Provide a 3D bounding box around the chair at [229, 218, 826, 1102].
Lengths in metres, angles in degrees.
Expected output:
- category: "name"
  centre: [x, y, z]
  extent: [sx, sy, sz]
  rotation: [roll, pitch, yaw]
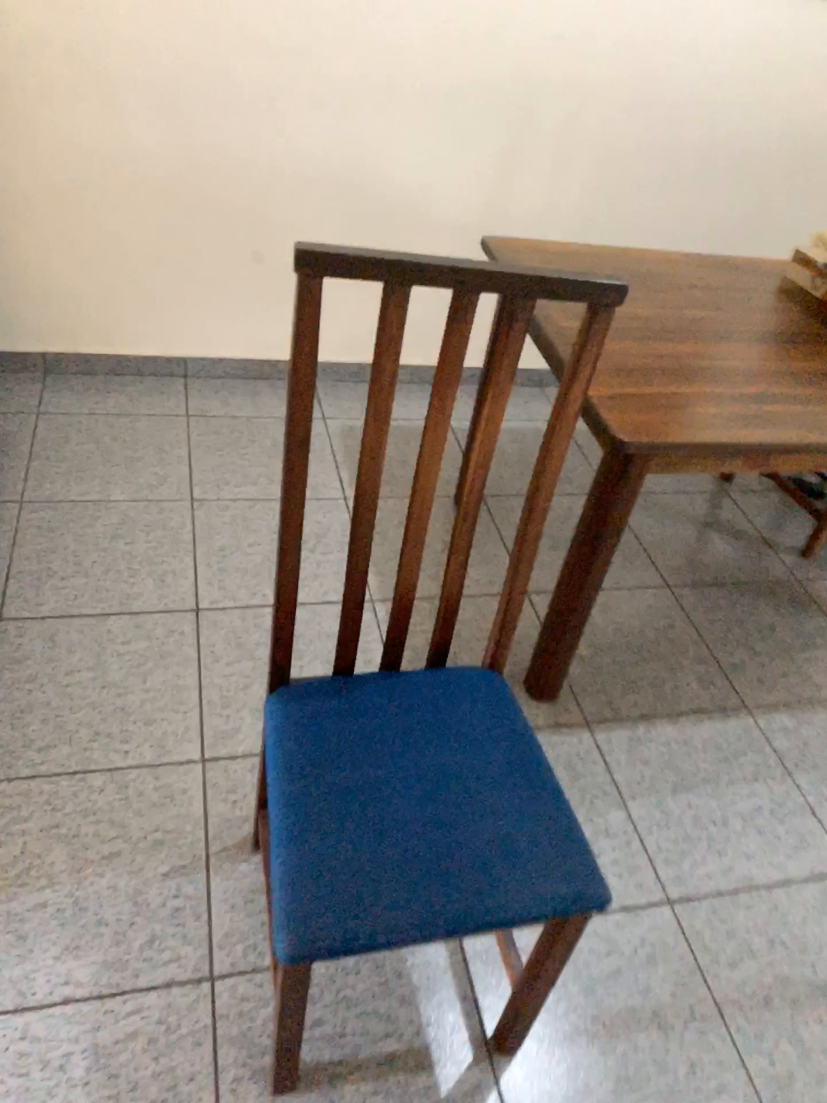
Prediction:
- category: "chair"
  centre: [0.033, 0.242, 1.123]
  extent: [0.470, 1.123, 0.523]
  rotation: [1, 41, -16]
